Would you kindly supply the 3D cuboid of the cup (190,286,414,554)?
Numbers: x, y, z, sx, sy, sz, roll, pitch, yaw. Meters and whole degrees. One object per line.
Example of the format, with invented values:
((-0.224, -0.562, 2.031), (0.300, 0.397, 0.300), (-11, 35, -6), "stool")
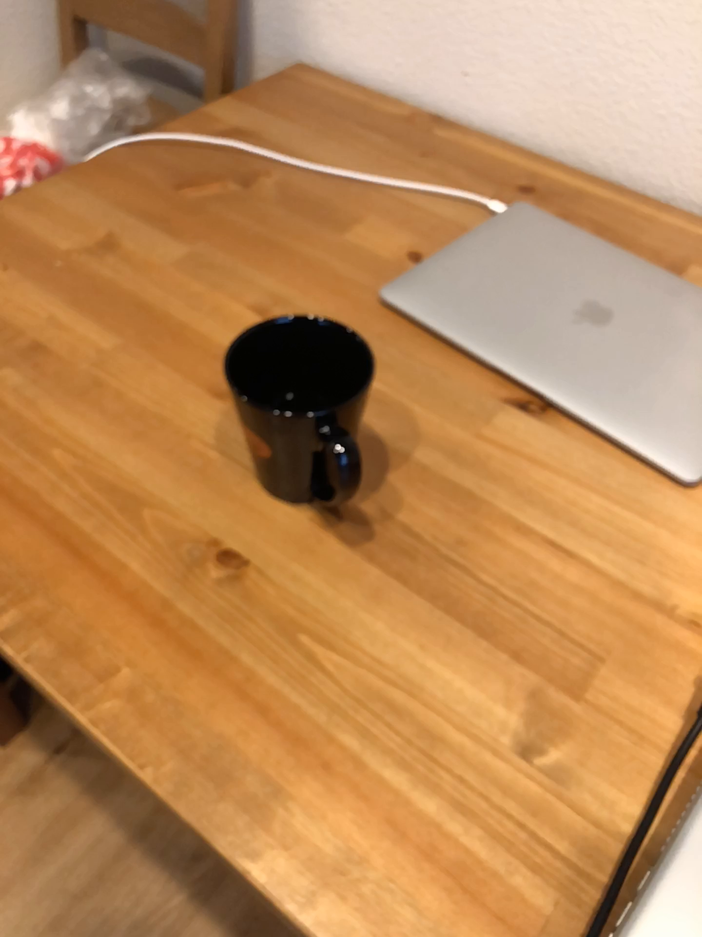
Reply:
((-0.033, -0.033, 0.494), (0.090, 0.090, 0.120), (-18, 51, -18), "cup")
